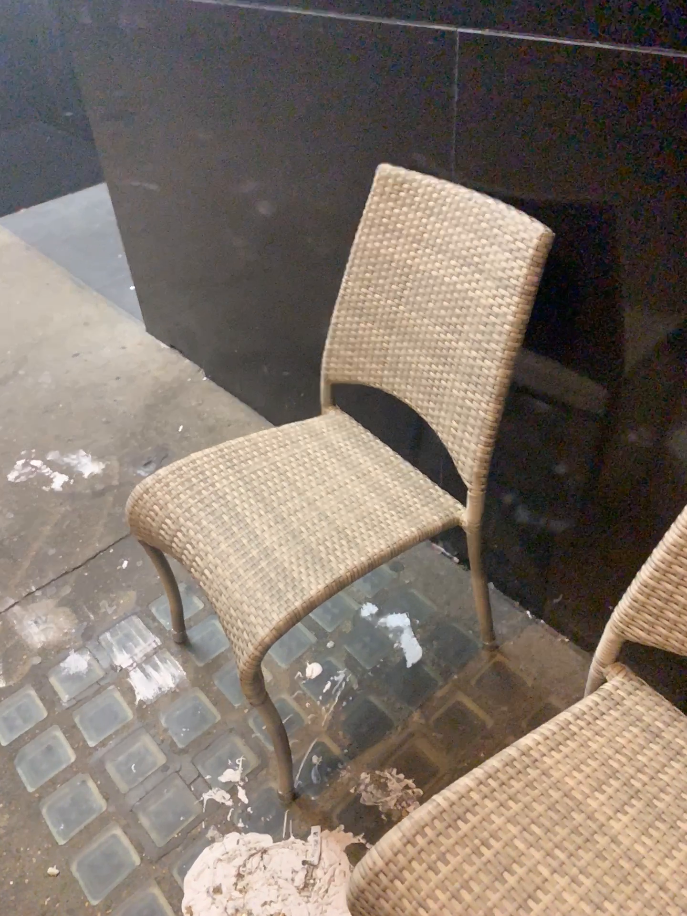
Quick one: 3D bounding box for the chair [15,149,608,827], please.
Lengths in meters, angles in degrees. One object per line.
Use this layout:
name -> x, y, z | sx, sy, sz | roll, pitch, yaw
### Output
chair -> -0.028, 0.039, 1.181 | 0.612, 0.832, 0.483 | -27, 44, -25

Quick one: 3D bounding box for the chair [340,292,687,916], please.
chair -> 0.430, 0.418, 0.705 | 0.601, 0.901, 0.584 | -19, 41, -29
